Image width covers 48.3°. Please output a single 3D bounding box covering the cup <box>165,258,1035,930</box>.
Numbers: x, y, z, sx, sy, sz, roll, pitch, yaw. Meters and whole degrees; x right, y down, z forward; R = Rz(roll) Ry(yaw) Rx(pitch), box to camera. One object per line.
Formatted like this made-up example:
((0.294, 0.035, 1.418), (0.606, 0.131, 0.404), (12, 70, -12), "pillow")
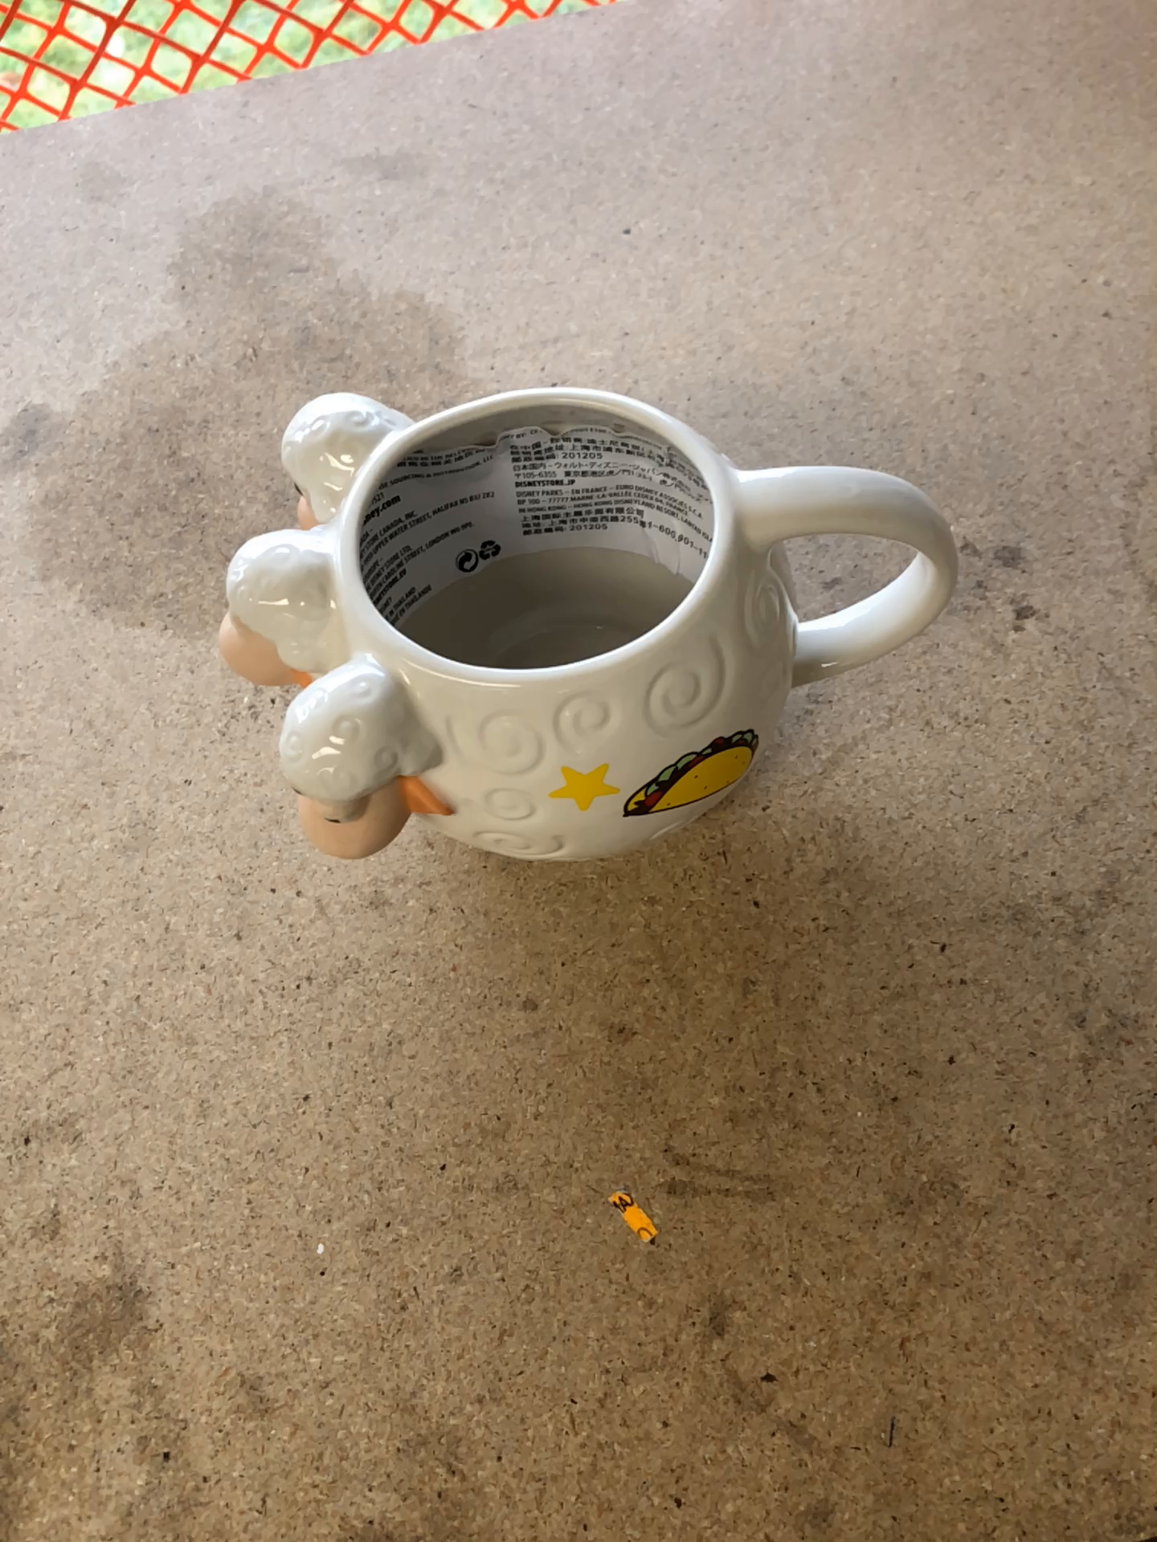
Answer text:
((0.003, -0.032, 0.276), (0.146, 0.090, 0.076), (-13, 65, 0), "cup")
